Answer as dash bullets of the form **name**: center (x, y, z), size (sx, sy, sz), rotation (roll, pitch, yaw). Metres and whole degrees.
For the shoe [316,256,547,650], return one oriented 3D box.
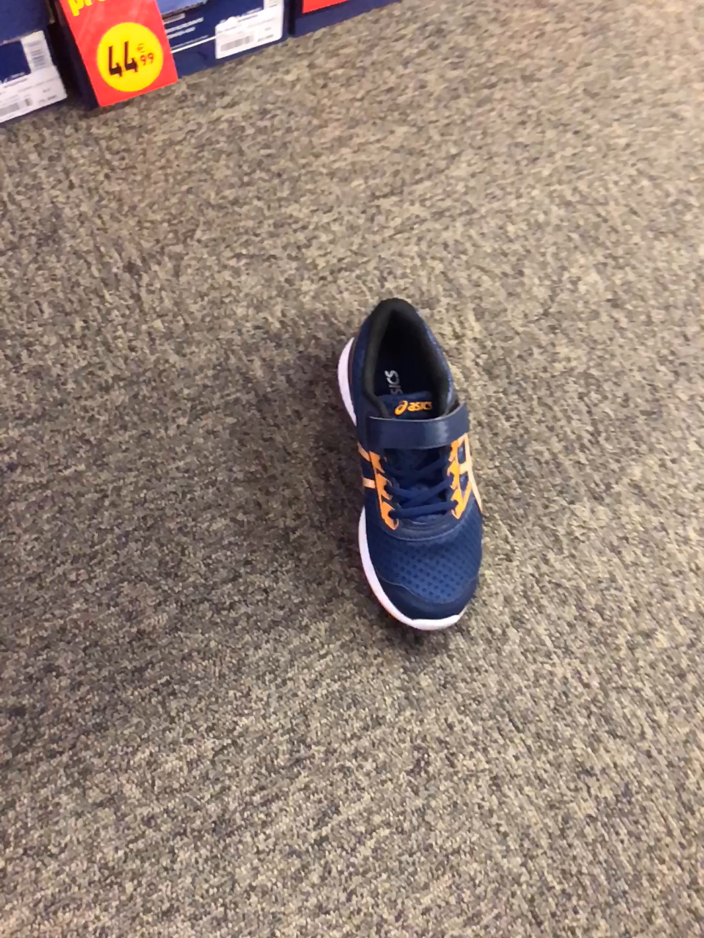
- **shoe**: center (0.042, -0.011, 0.520), size (0.090, 0.100, 0.236), rotation (-7, 70, -9)
